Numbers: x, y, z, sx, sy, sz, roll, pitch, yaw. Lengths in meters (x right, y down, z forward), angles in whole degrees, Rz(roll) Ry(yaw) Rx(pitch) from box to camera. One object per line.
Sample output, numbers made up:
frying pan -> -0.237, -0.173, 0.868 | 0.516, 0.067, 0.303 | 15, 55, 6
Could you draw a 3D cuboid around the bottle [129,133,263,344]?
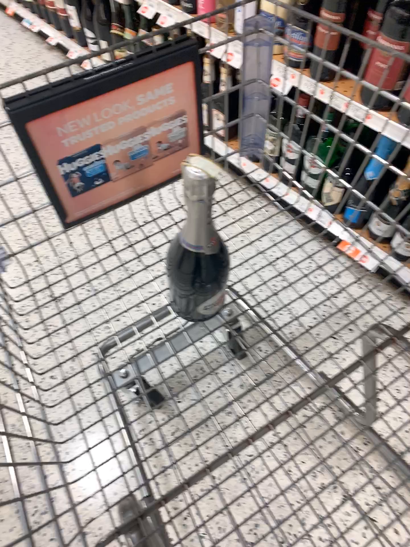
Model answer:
bottle -> -0.005, -0.031, 0.608 | 0.110, 0.297, 0.111 | -1, 57, 2
